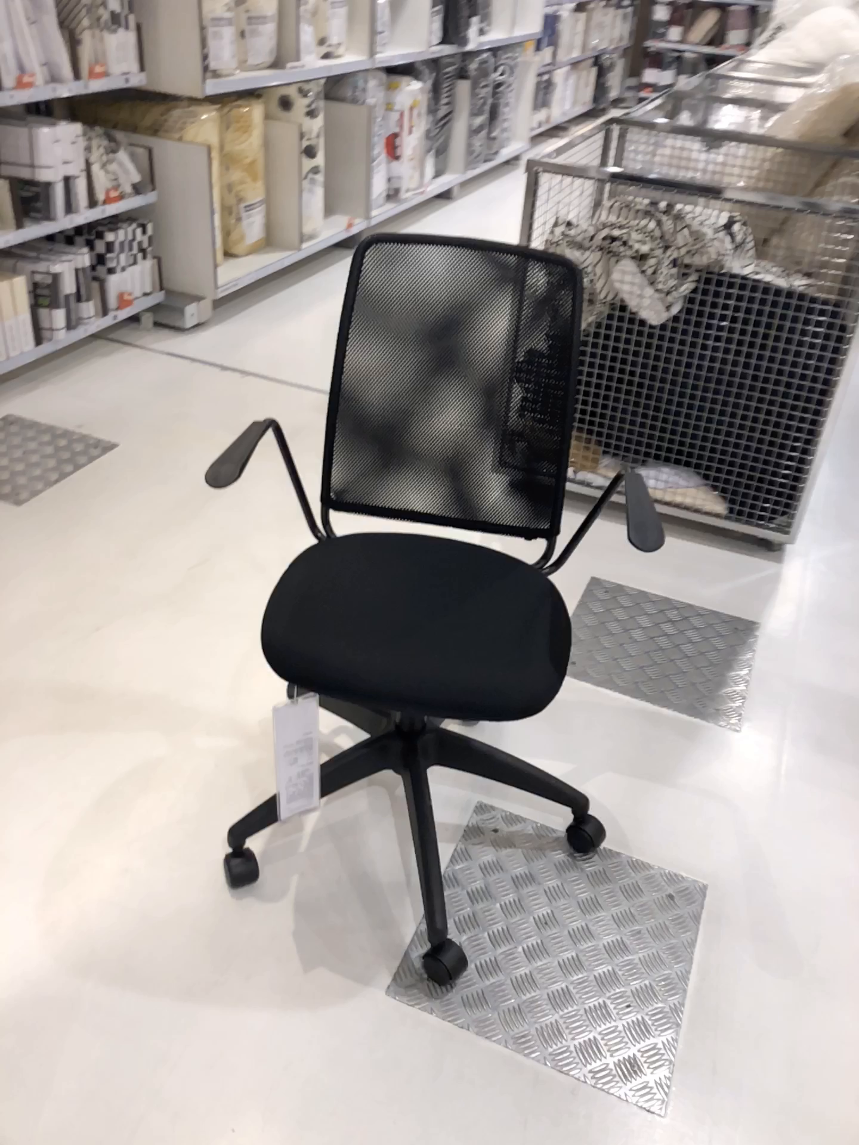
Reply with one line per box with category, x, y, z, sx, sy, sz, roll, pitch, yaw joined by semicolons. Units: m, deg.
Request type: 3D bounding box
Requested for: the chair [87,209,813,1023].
chair;0.025;0.023;1.322;0.630;0.814;0.696;7;33;4
